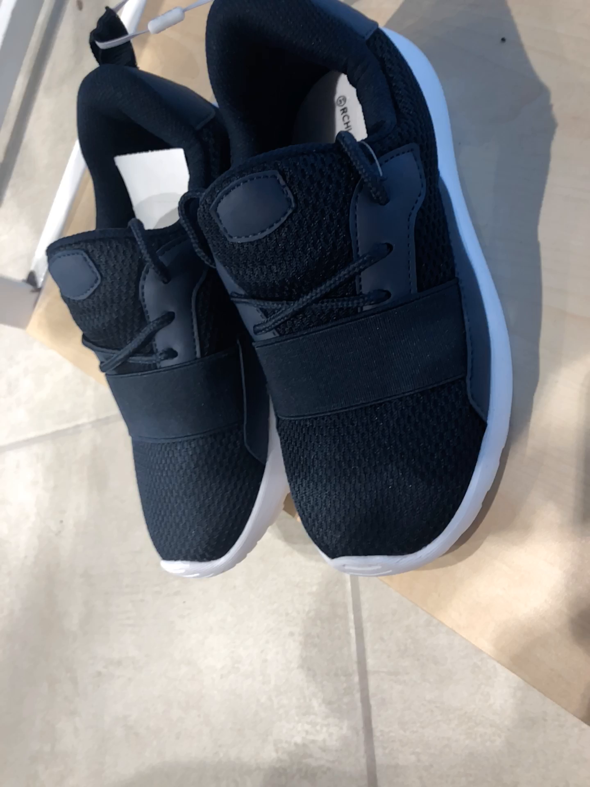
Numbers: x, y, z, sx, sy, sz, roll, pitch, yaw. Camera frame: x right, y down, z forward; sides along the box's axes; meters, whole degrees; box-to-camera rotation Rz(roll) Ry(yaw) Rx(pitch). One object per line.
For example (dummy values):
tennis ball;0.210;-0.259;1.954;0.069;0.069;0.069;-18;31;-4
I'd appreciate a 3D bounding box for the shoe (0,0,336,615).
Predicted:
shoe;-0.050;-0.040;0.287;0.090;0.100;0.240;-5;78;36

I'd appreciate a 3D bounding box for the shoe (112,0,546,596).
shoe;0.006;-0.057;0.239;0.100;0.100;0.240;-14;74;35
